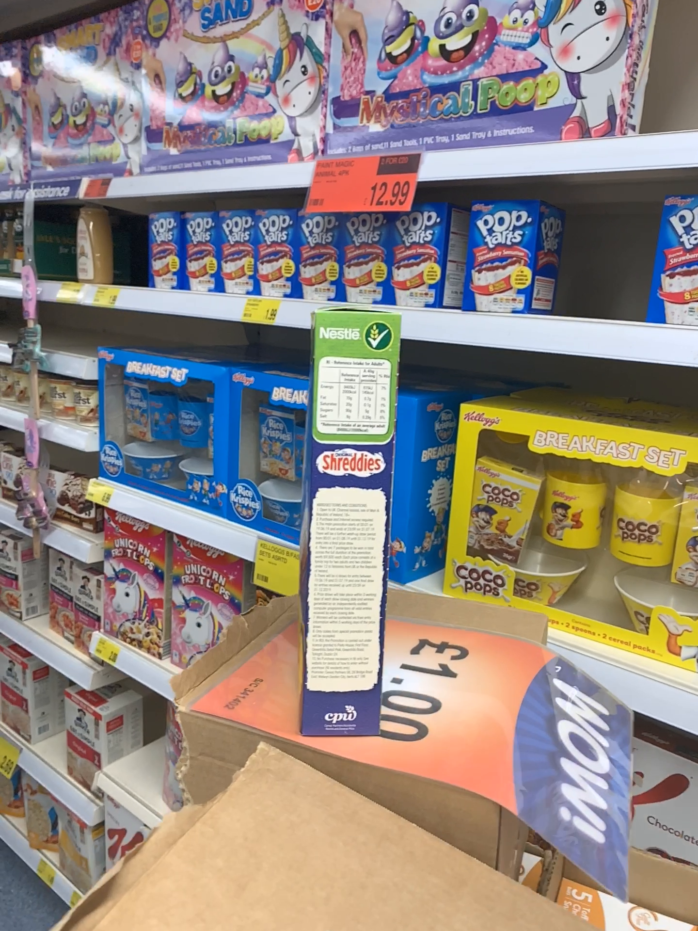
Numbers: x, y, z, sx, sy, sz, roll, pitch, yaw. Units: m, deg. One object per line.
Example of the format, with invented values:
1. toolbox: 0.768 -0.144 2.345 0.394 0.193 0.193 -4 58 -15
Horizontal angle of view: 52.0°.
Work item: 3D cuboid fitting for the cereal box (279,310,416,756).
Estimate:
1. cereal box: -0.005 0.026 0.525 0.070 0.269 0.211 2 10 -1
